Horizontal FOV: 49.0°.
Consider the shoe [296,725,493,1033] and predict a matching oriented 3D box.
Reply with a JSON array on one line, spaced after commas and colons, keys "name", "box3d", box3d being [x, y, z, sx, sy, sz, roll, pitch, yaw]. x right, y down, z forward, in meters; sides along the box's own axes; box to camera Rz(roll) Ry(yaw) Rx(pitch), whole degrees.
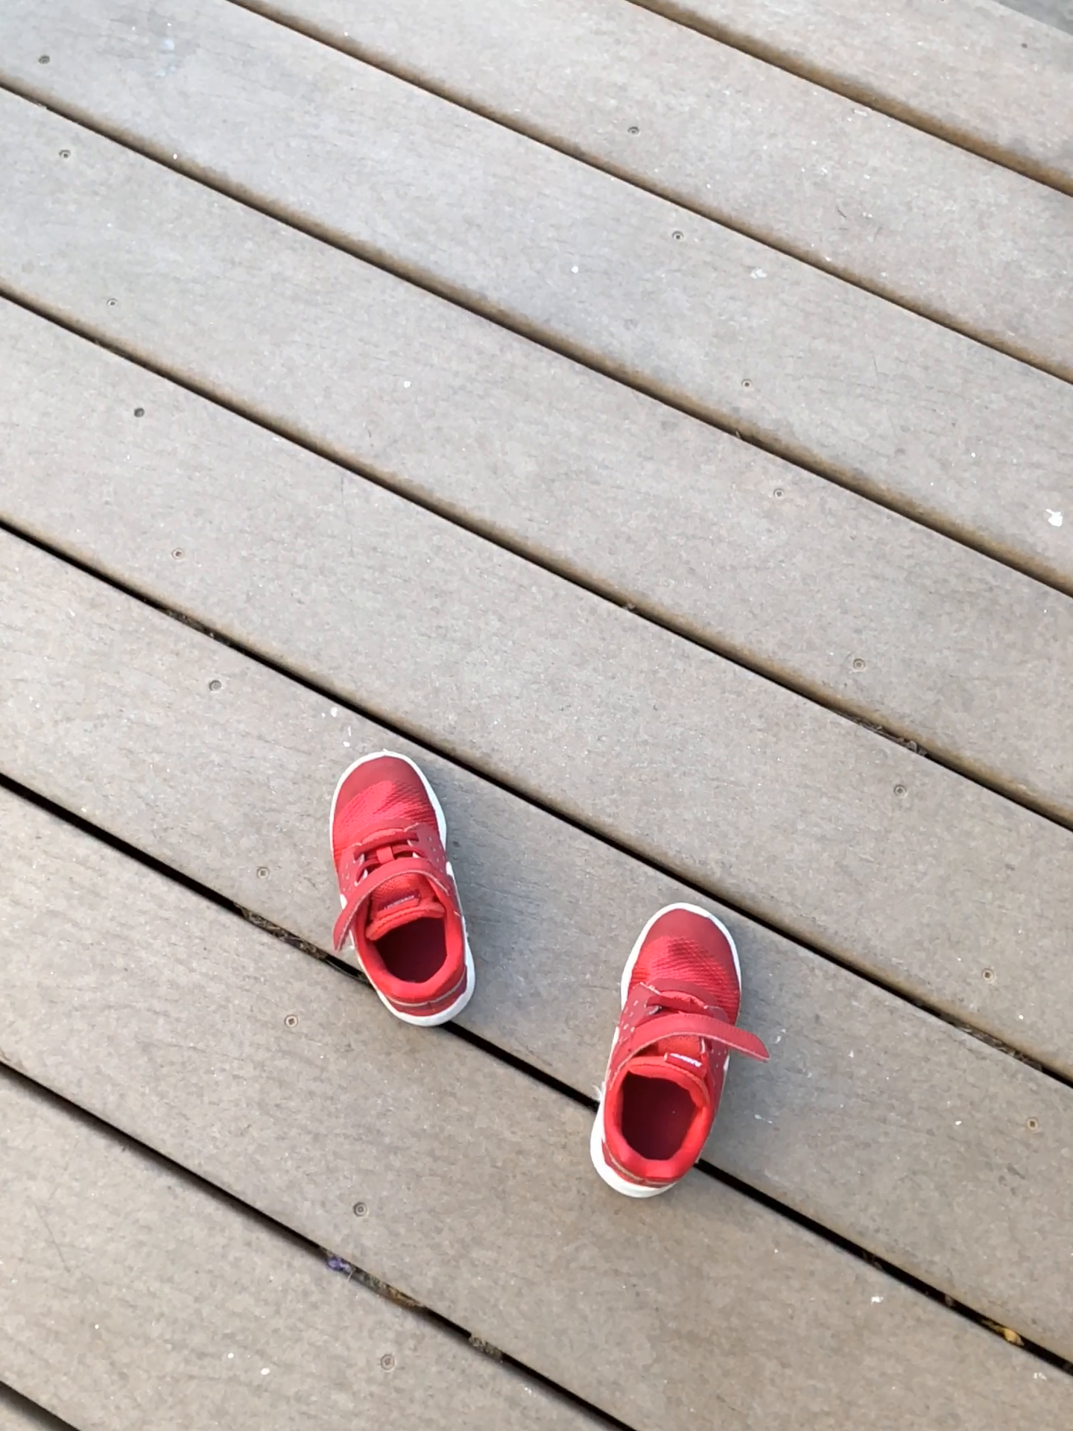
[{"name": "shoe", "box3d": [-0.079, 0.094, 0.669, 0.073, 0.069, 0.153, -14, 76, -5]}]

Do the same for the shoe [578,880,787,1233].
[{"name": "shoe", "box3d": [0.079, 0.183, 0.647, 0.069, 0.069, 0.164, 15, 75, 2]}]
